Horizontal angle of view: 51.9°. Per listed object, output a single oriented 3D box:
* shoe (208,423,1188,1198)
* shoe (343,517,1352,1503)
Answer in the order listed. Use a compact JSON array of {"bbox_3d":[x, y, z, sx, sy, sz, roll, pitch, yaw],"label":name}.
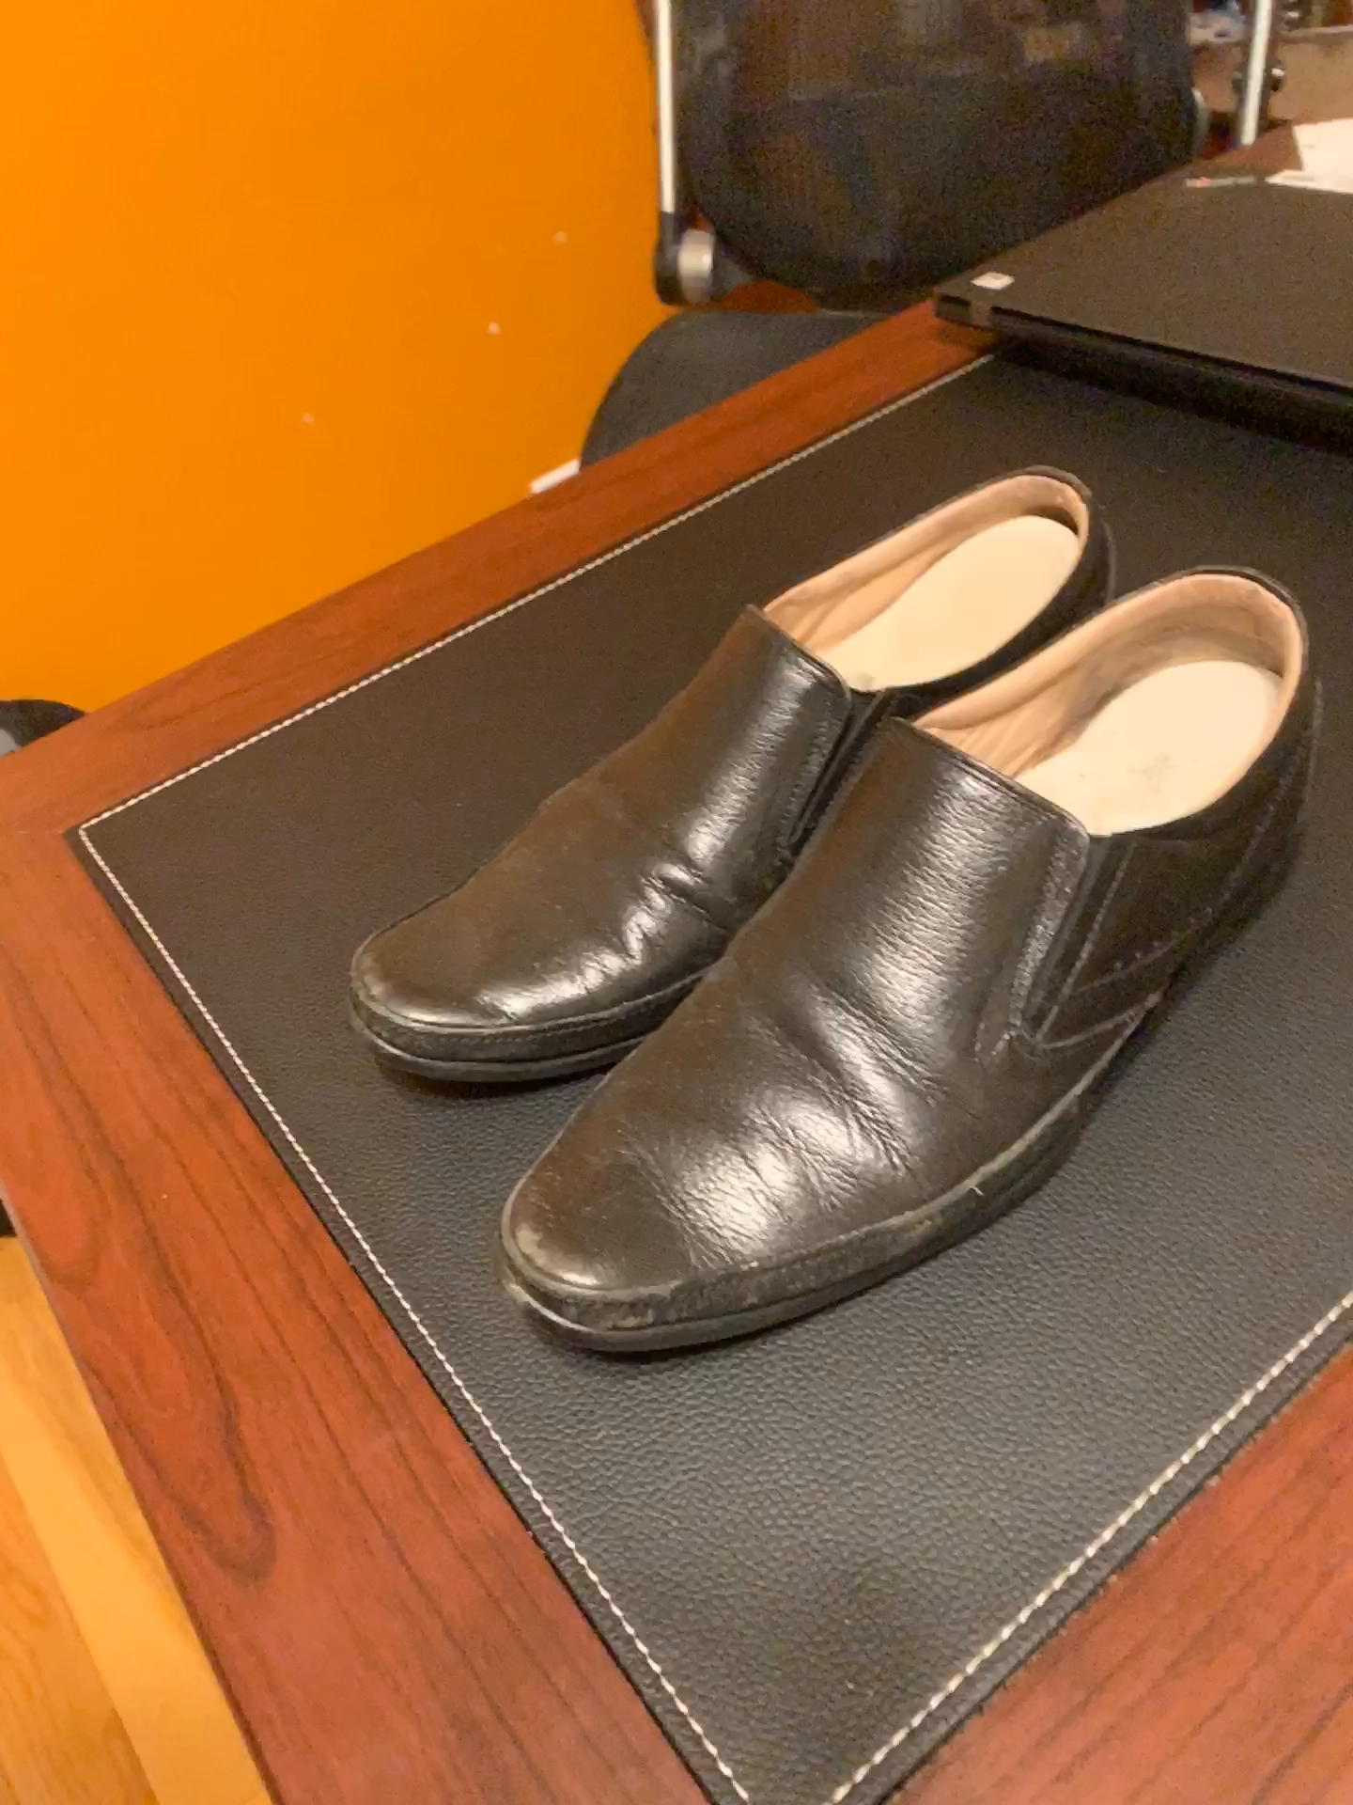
[{"bbox_3d":[0.017,-0.045,0.439,0.285,0.077,0.111,-32,47,-20],"label":"shoe"},{"bbox_3d":[0.072,0.008,0.365,0.285,0.077,0.106,-32,47,-20],"label":"shoe"}]
